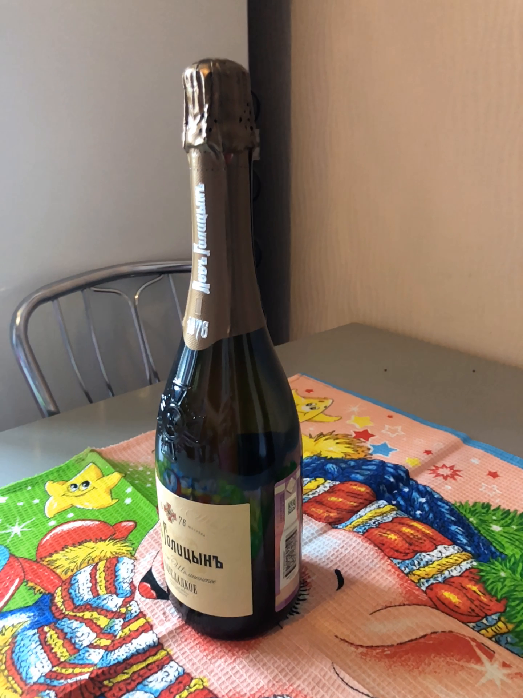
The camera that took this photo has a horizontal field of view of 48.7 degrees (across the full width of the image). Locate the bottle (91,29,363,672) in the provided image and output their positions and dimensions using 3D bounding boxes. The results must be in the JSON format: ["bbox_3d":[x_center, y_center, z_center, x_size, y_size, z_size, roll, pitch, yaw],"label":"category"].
[{"bbox_3d":[-0.016,0.007,0.322,0.093,0.309,0.090,-1,19,0],"label":"bottle"}]
